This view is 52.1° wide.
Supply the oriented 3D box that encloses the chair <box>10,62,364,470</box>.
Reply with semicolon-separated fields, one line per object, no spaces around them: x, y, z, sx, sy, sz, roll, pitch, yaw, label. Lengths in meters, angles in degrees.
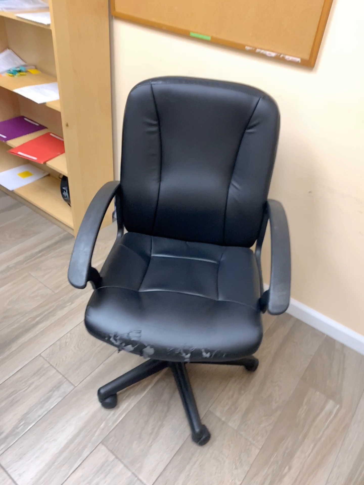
0.057;0.097;1.146;0.682;0.986;0.648;8;39;2;chair
